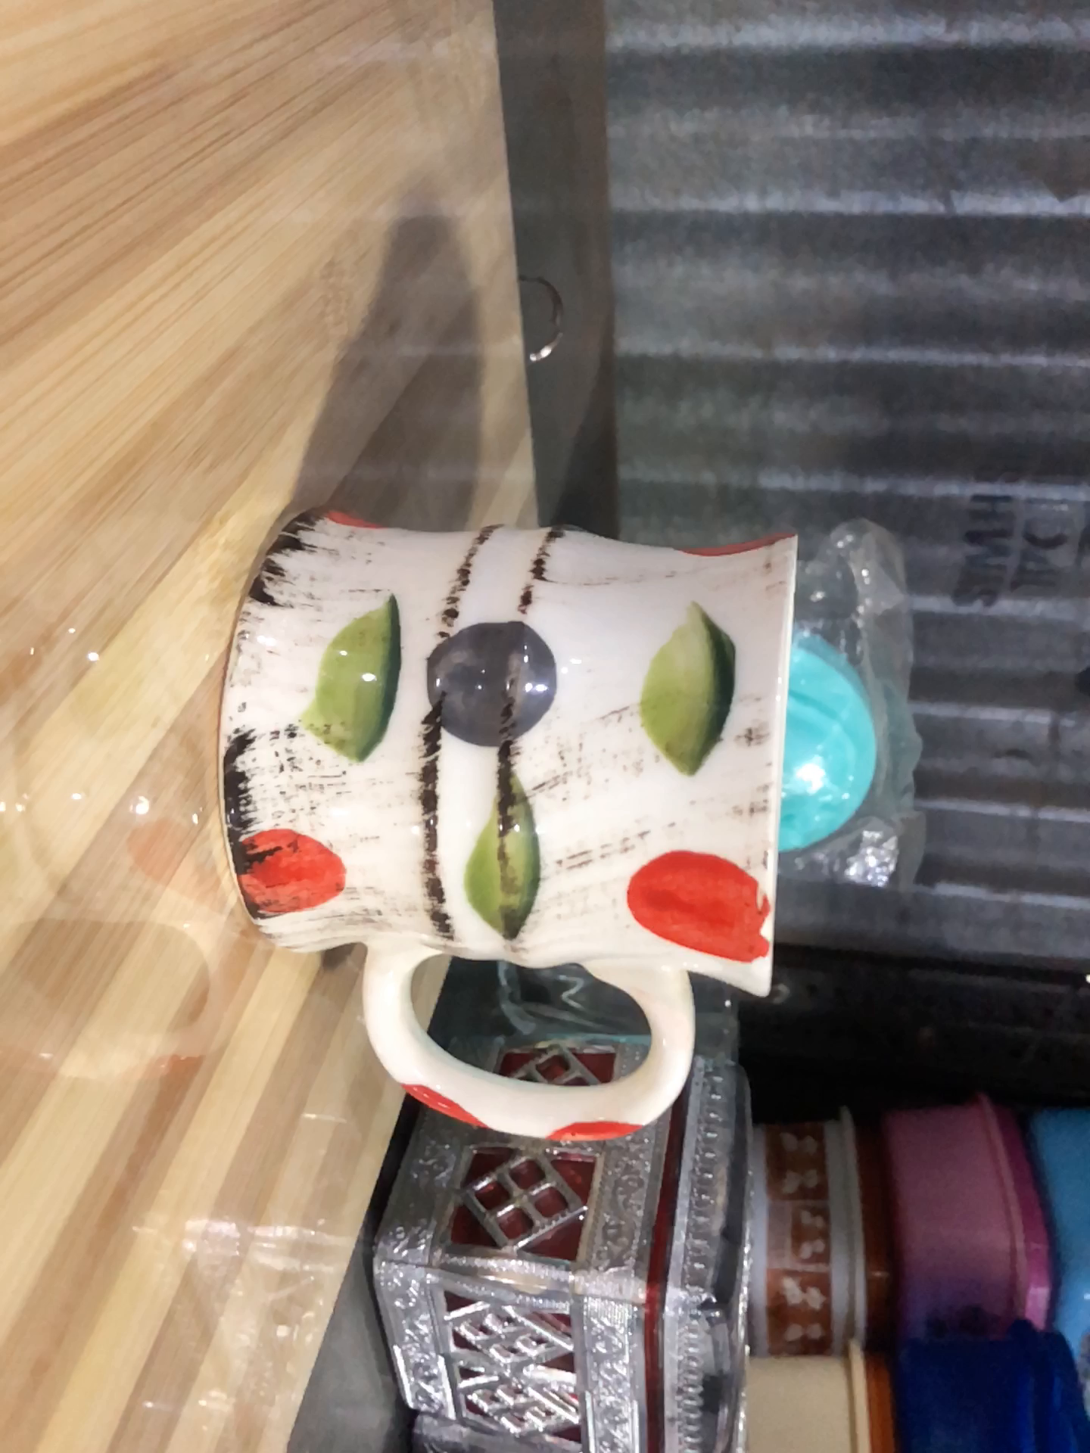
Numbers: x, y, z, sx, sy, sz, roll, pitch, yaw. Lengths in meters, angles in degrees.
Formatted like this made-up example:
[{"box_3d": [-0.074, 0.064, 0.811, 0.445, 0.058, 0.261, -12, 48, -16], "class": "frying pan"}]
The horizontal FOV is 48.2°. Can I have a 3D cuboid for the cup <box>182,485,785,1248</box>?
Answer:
[{"box_3d": [-0.003, 0.021, 0.210, 0.060, 0.080, 0.110, -68, 159, -62], "class": "cup"}]
